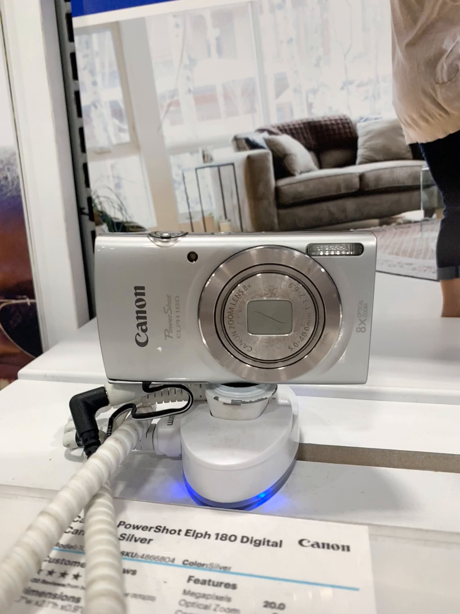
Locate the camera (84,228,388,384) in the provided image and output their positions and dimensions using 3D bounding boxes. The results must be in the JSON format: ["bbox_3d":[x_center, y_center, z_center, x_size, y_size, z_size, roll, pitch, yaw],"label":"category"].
[{"bbox_3d":[0.002,0.000,0.175,0.098,0.051,0.022,0,21,4],"label":"camera"}]
